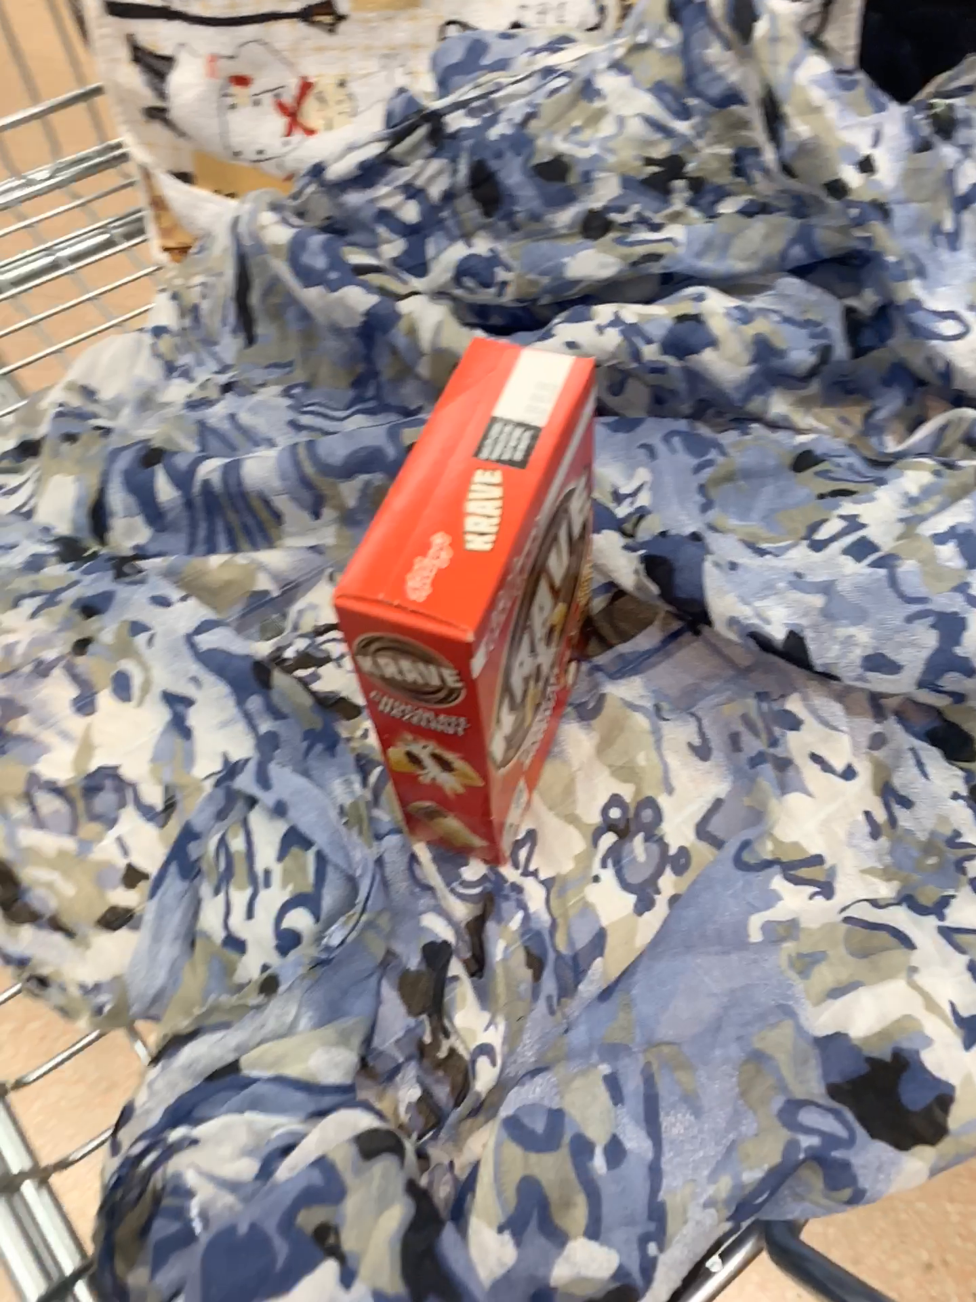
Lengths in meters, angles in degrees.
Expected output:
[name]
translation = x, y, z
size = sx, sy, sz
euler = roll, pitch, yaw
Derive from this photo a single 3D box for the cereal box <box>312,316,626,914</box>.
[cereal box]
translation = 0.003, 0.000, 0.282
size = 0.040, 0.149, 0.091
euler = 15, 57, 14
